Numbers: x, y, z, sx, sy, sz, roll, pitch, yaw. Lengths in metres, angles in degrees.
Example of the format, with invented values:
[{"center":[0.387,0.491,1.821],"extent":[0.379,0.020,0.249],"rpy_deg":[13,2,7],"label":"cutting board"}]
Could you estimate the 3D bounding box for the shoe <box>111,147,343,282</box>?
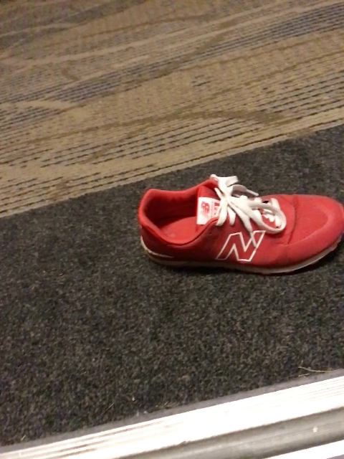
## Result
[{"center":[0.075,-0.011,0.452],"extent":[0.256,0.108,0.101],"rpy_deg":[-3,50,13],"label":"shoe"}]
